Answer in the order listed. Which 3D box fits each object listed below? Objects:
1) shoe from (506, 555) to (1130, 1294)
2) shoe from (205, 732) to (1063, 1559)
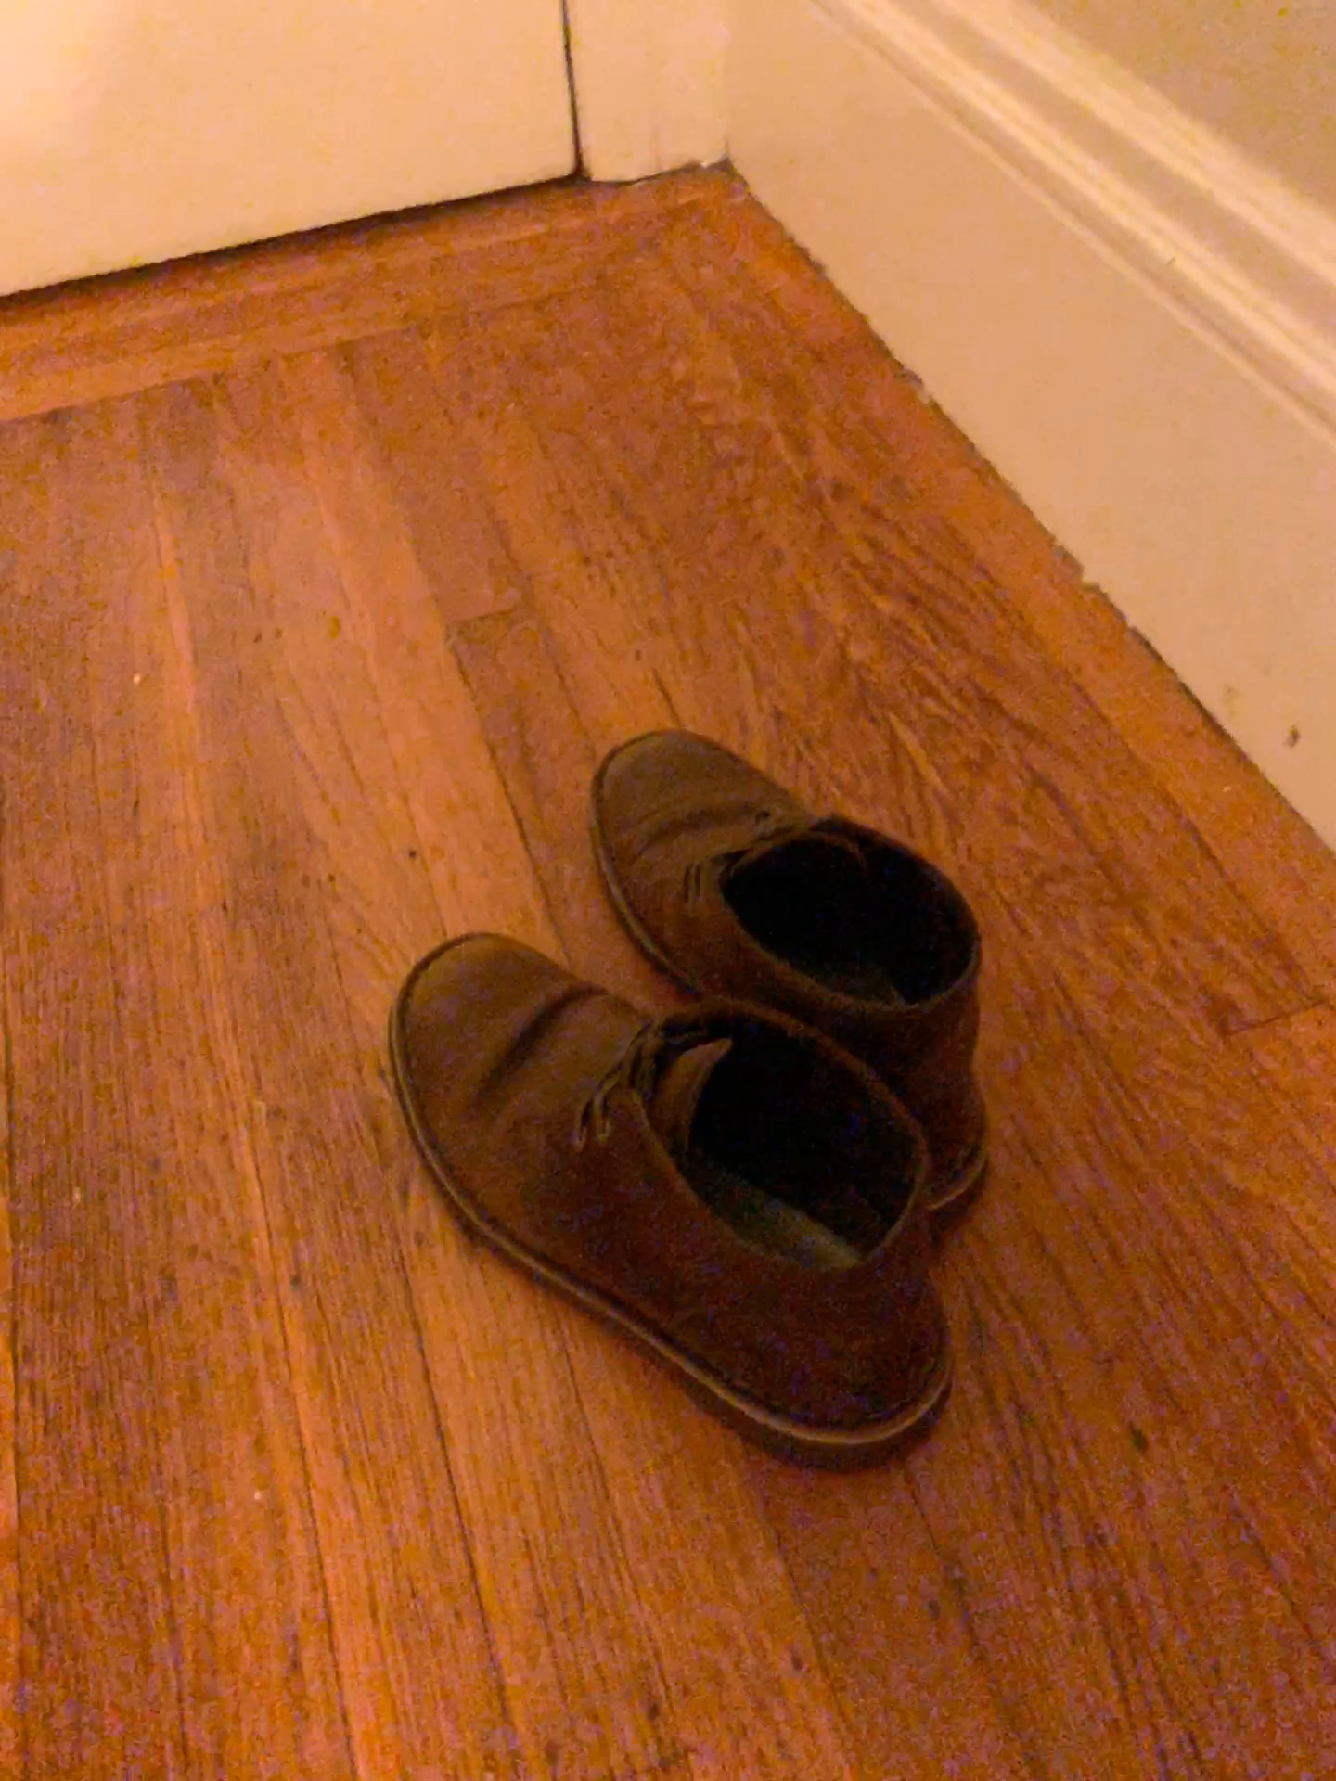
[{"bbox_3d":[0.047,0.000,0.594,0.120,0.120,0.291,-23,53,-13],"label":"shoe"},{"bbox_3d":[-0.022,0.082,0.522,0.301,0.120,0.120,35,61,28],"label":"shoe"}]
